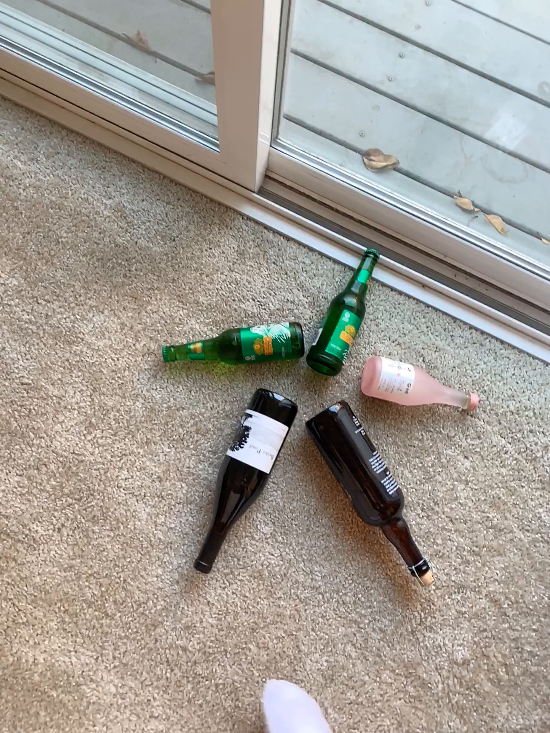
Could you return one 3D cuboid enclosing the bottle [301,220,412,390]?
[{"bbox_3d":[0.131,-0.097,0.913,0.080,0.090,0.250,23,79,2],"label":"bottle"}]

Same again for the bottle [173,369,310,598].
[{"bbox_3d":[-0.046,0.169,0.835,0.080,0.090,0.310,22,74,2],"label":"bottle"}]

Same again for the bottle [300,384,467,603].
[{"bbox_3d":[0.155,0.187,0.851,0.080,0.090,0.310,-29,78,-9],"label":"bottle"}]

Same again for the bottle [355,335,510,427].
[{"bbox_3d":[0.244,0.026,0.887,0.210,0.090,0.080,14,77,2],"label":"bottle"}]

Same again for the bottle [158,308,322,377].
[{"bbox_3d":[-0.056,-0.036,0.881,0.240,0.090,0.070,-4,77,-7],"label":"bottle"}]
